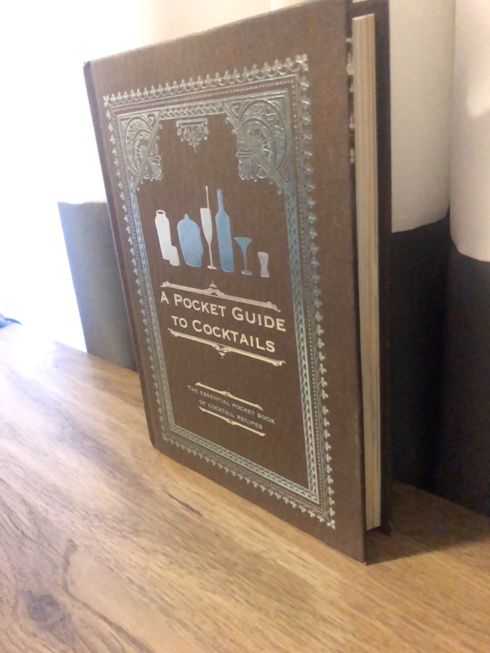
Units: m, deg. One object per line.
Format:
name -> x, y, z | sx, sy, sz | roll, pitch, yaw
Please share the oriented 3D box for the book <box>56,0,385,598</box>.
book -> -0.011, -0.008, 0.221 | 0.137, 0.200, 0.022 | 14, 28, 43
